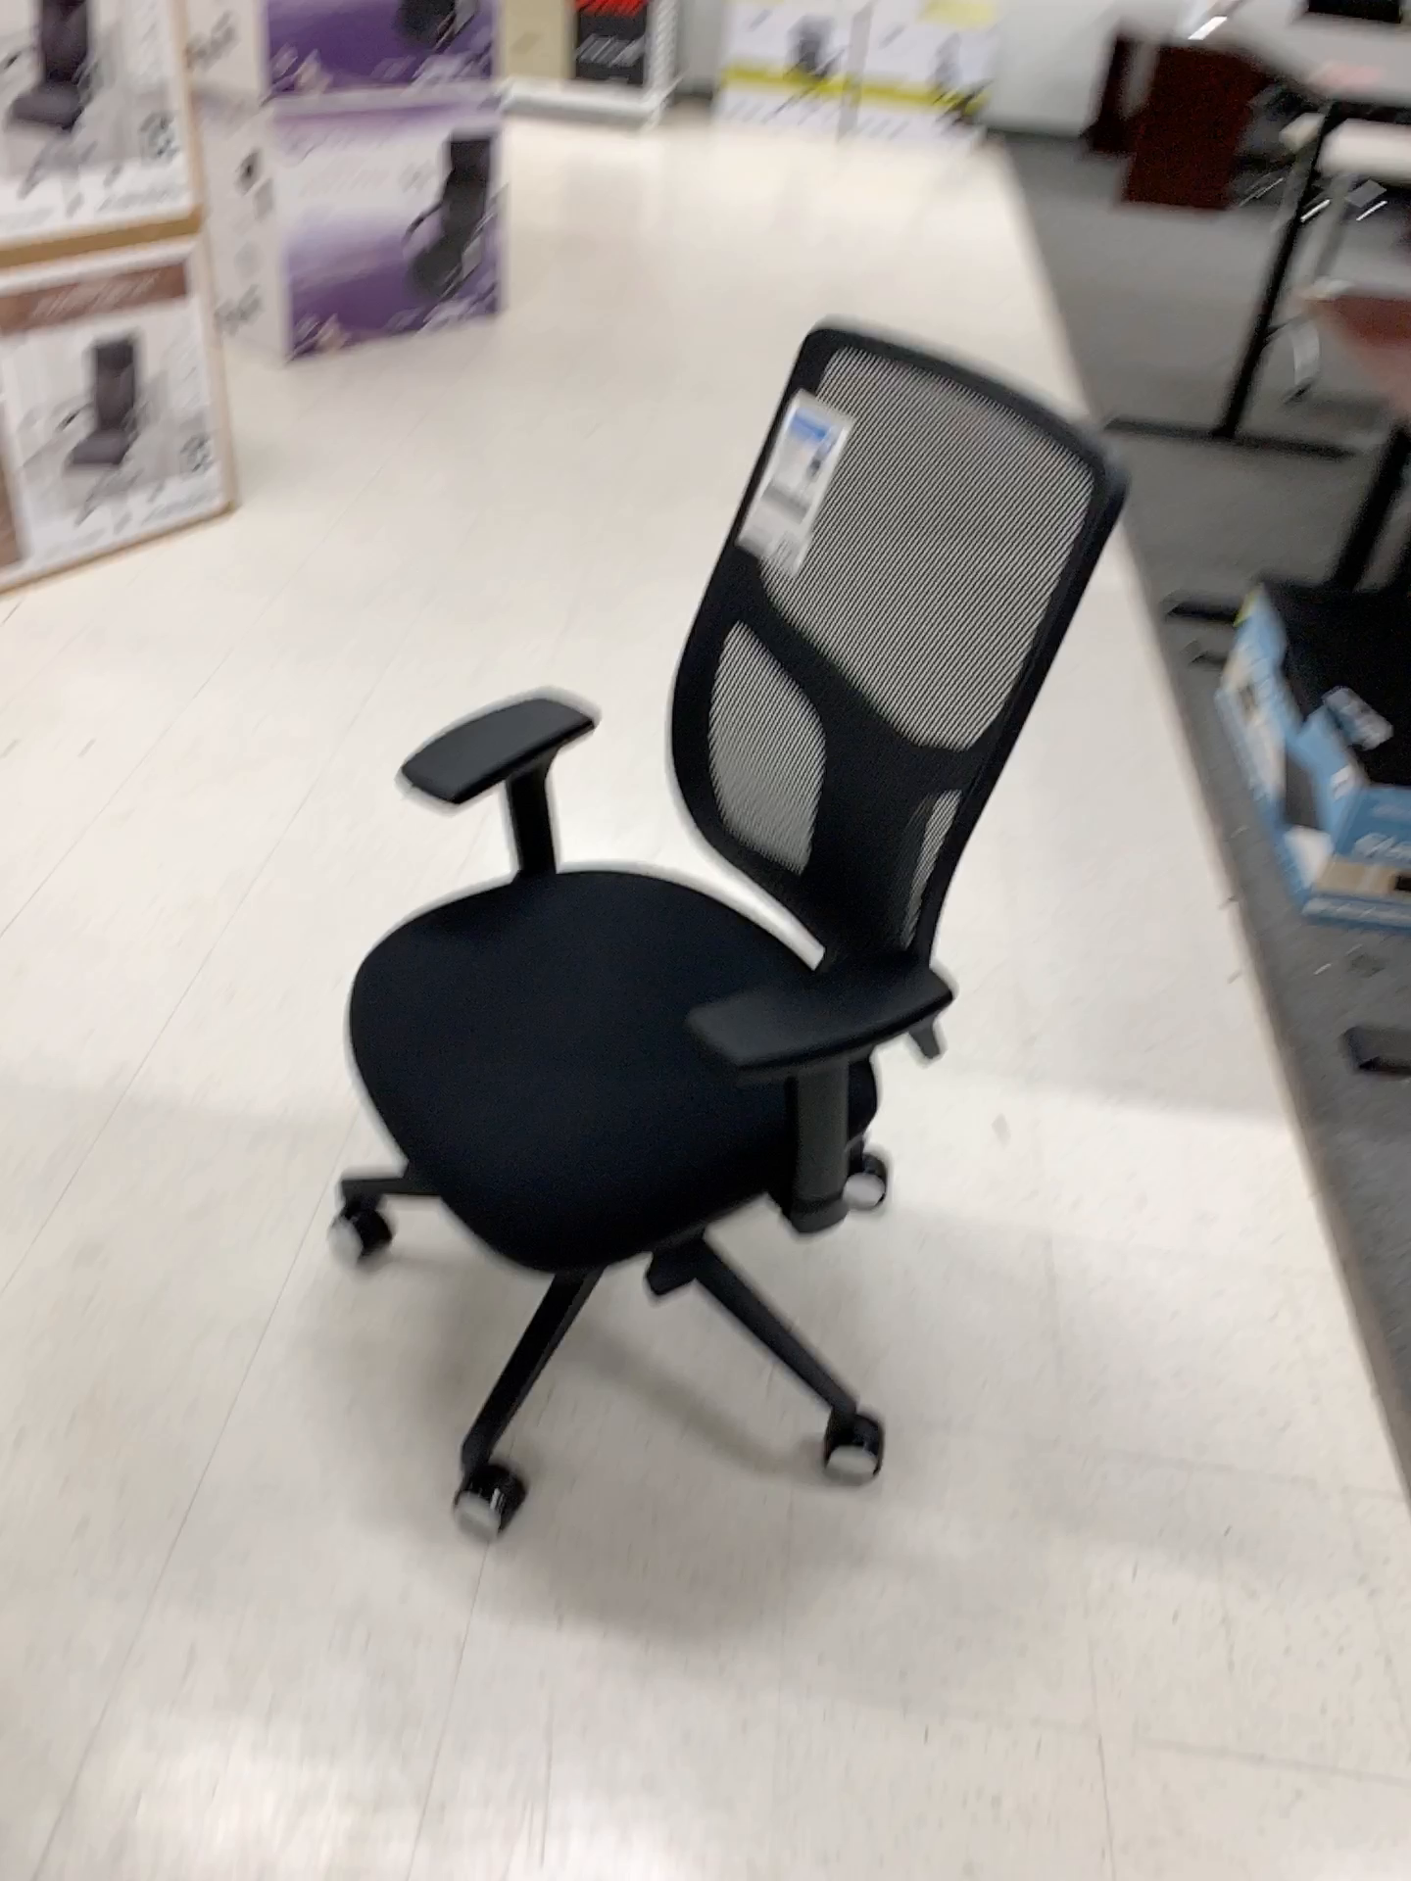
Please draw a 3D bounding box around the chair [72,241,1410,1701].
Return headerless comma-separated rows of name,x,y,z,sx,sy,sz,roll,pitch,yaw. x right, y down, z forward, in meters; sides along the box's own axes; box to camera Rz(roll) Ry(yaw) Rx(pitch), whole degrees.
chair,-0.032,-0.019,1.356,0.731,0.995,0.703,-19,45,-29
